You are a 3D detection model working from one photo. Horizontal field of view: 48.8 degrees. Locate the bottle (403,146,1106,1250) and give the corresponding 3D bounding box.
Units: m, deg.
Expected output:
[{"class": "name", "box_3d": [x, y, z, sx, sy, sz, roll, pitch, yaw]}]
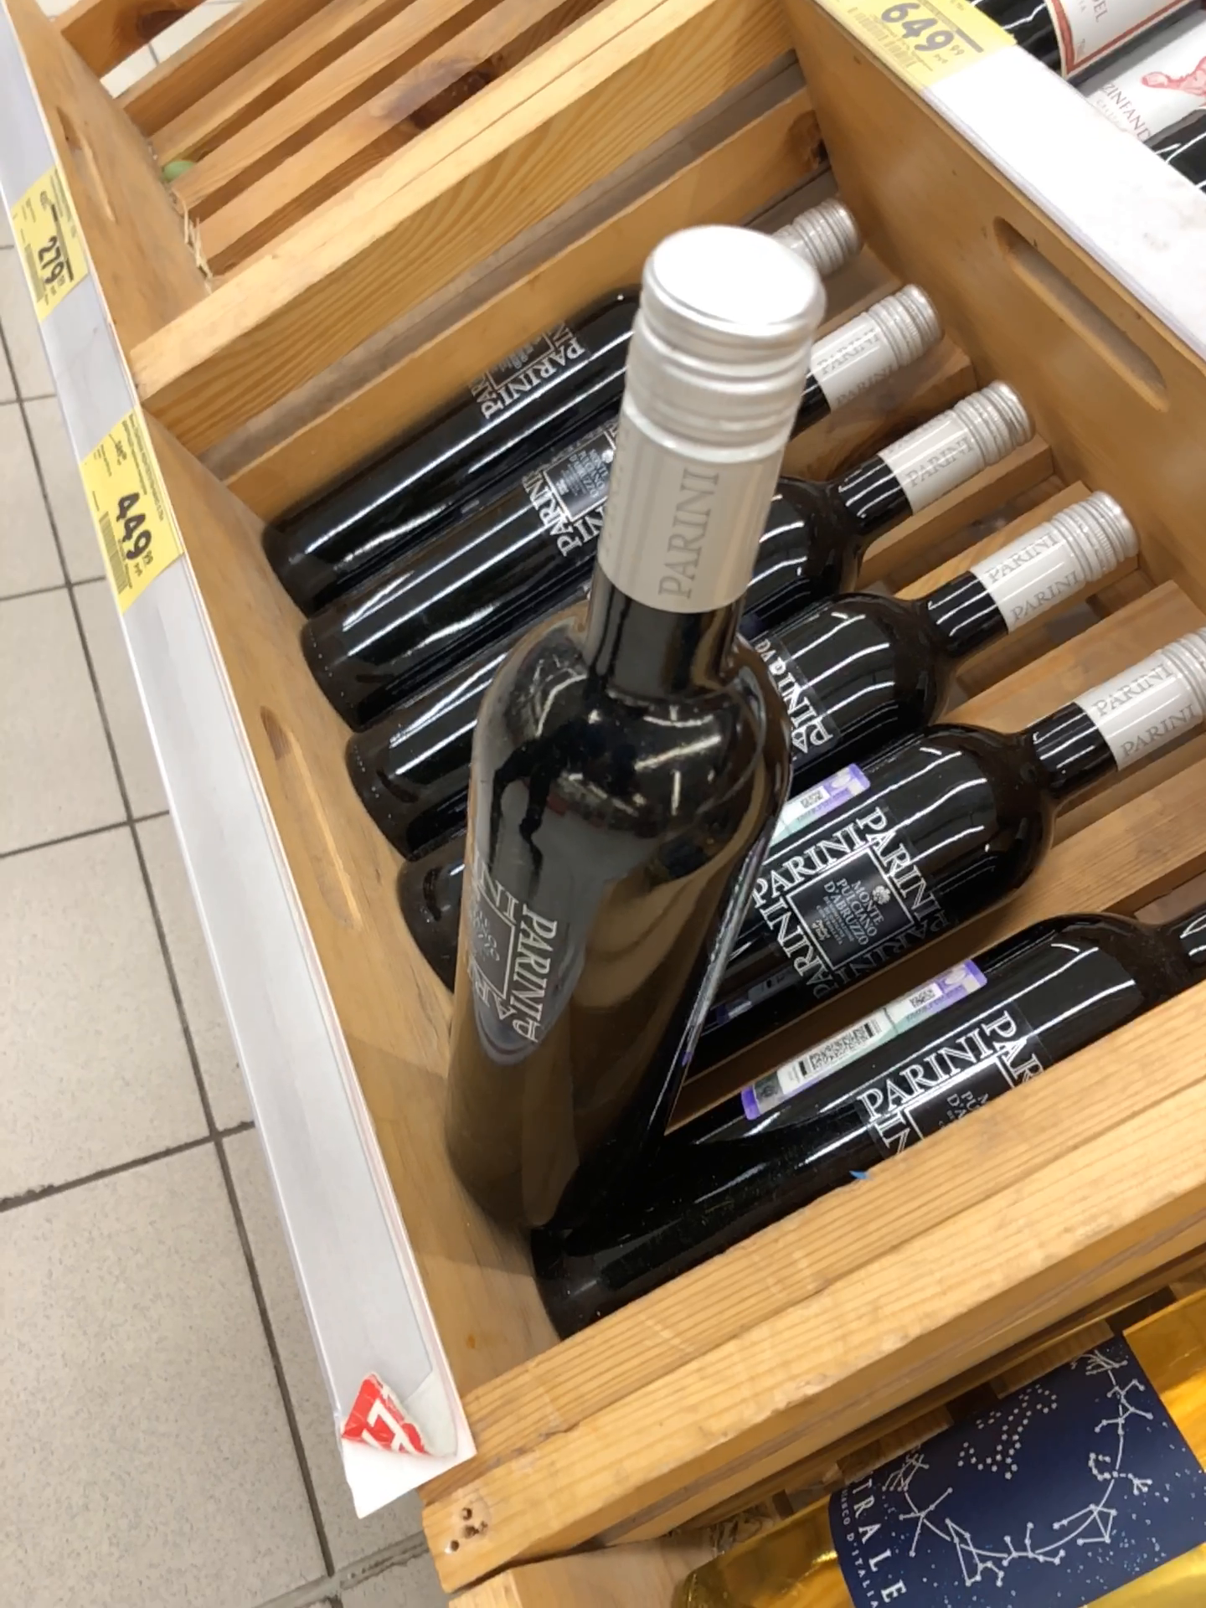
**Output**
[{"class": "bottle", "box_3d": [0.003, 0.006, 0.317, 0.080, 0.279, 0.090, -5, 53, -15]}]
